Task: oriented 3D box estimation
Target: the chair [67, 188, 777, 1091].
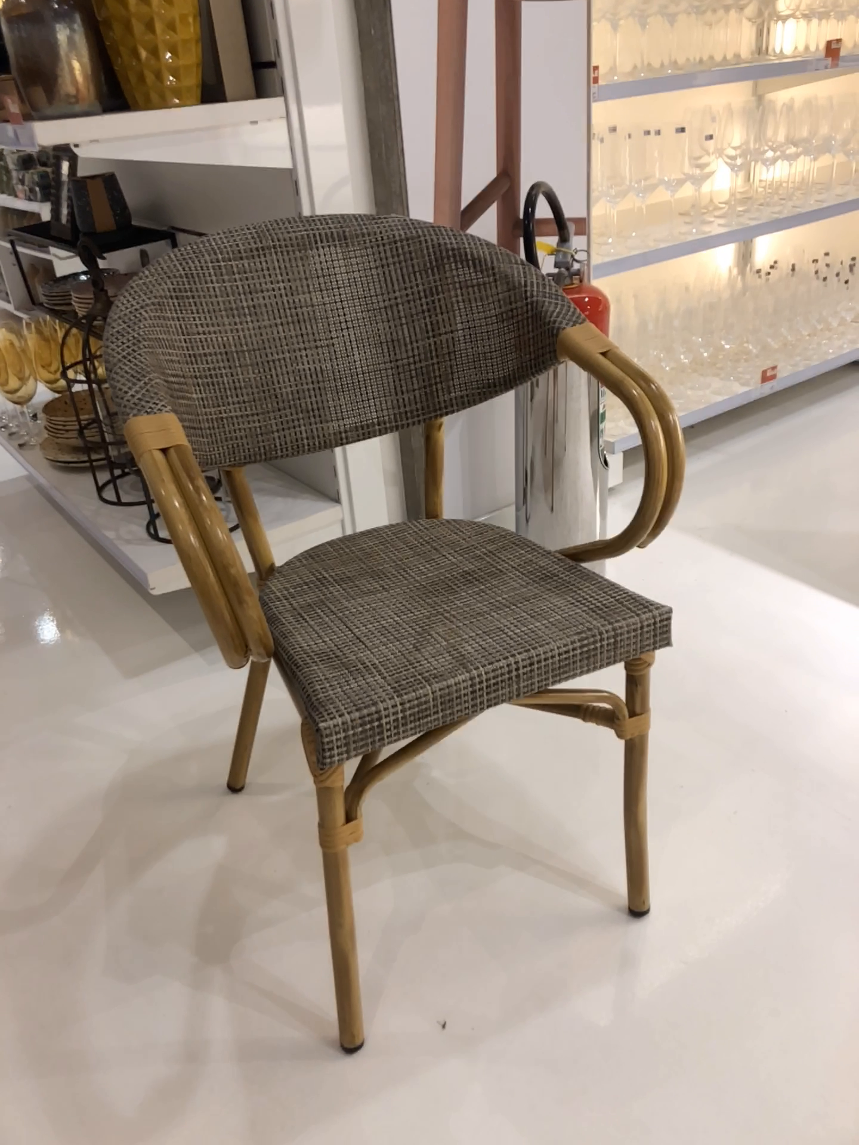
[{"bbox_3d":[-0.029,0.014,1.130,0.521,0.784,0.573,-17,30,-20],"label":"chair"}]
